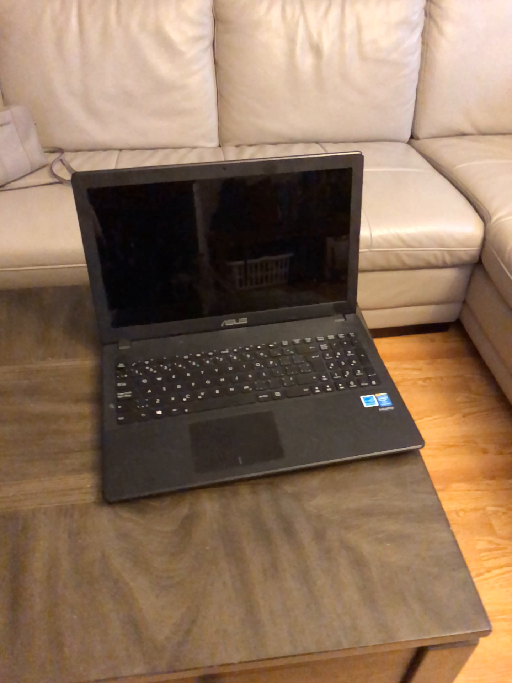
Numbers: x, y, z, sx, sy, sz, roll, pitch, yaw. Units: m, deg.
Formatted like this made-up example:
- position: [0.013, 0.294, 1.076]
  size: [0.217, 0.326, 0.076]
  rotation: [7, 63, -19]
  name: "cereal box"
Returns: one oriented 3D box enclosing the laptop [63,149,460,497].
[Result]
- position: [-0.021, -0.043, 0.670]
  size: [0.355, 0.216, 0.317]
  rotation: [-7, 44, -10]
  name: "laptop"
